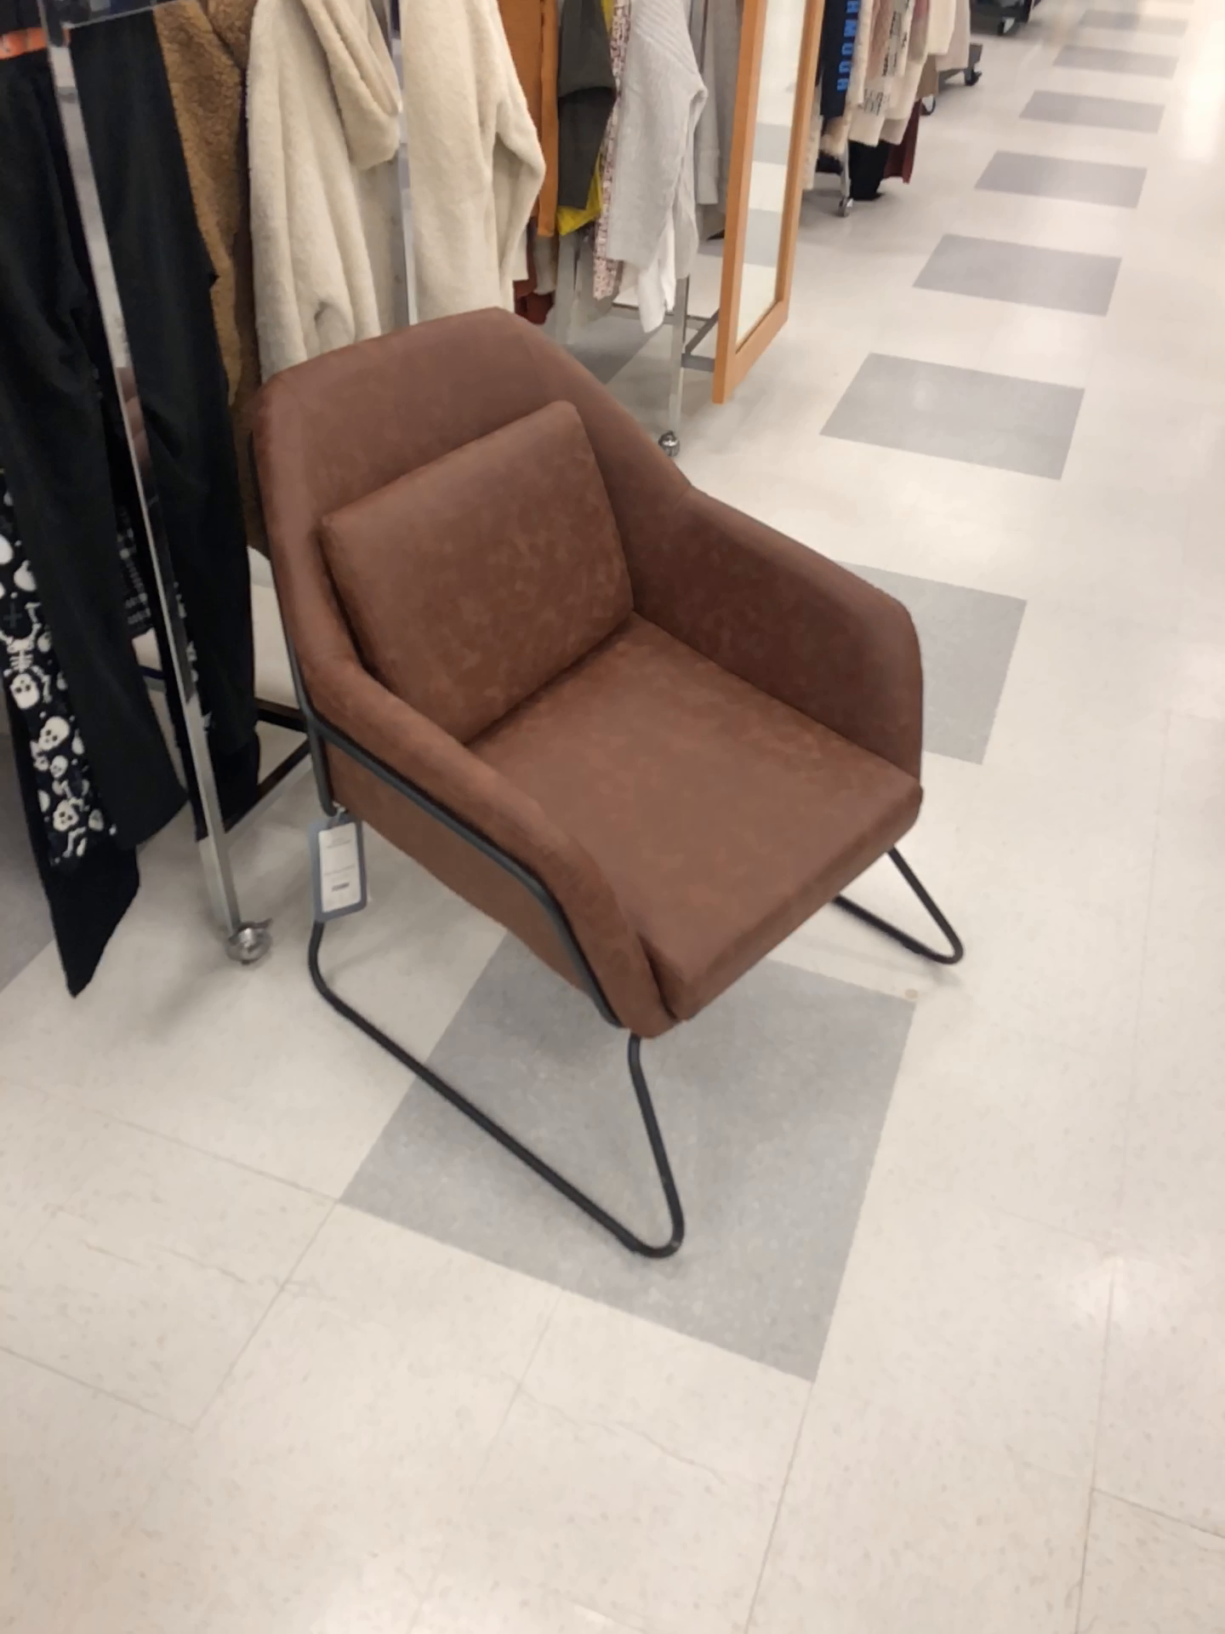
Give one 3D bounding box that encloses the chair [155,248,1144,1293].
[{"bbox_3d":[0.035,-0.111,1.690,0.759,0.849,0.738,31,48,30],"label":"chair"}]
